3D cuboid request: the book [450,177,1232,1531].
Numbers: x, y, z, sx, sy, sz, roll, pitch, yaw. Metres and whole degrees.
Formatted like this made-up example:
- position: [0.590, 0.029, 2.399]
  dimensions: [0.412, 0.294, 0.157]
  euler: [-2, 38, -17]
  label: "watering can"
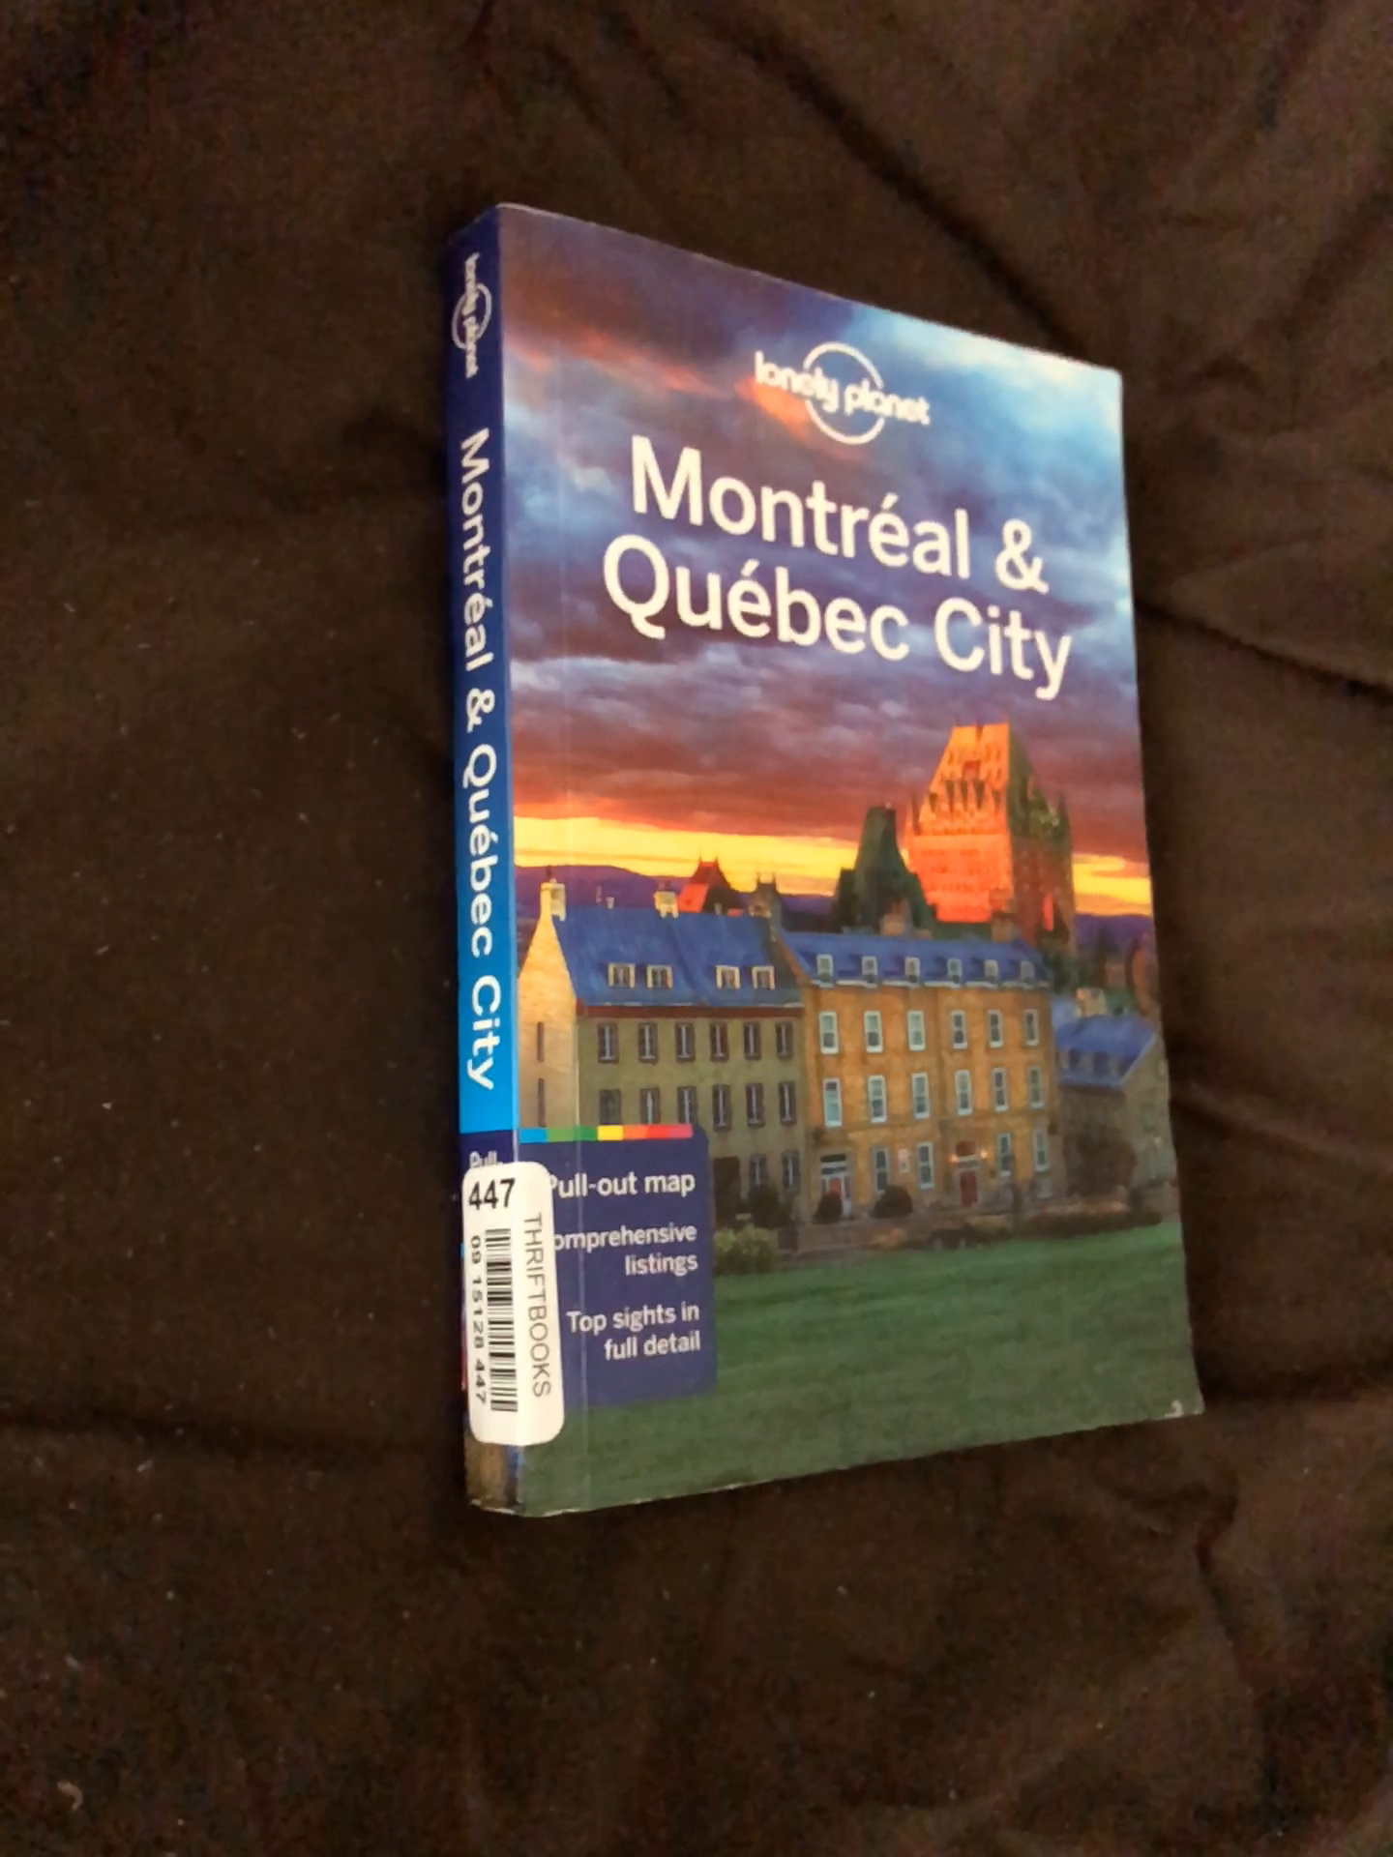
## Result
- position: [0.027, -0.013, 0.274]
  dimensions: [0.138, 0.023, 0.205]
  euler: [3, 81, -27]
  label: "book"
